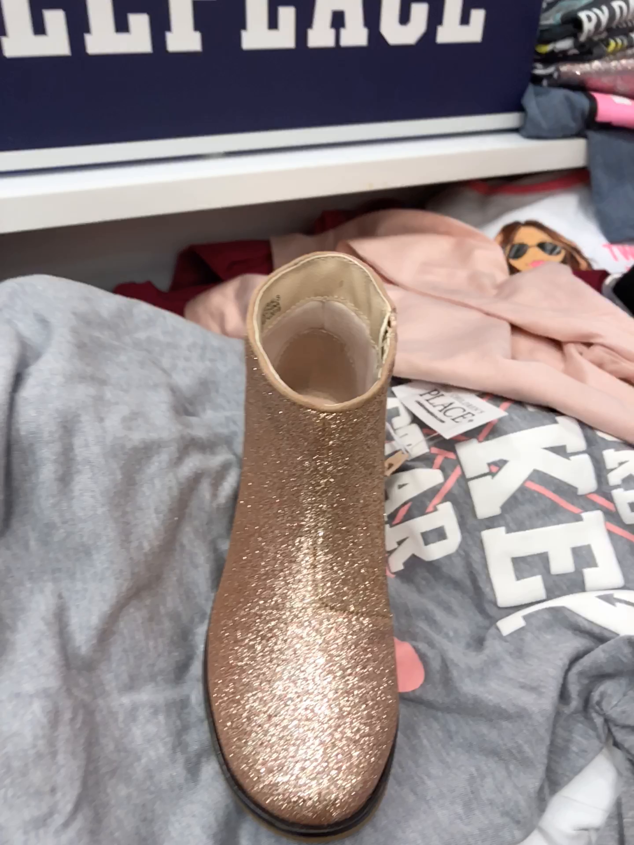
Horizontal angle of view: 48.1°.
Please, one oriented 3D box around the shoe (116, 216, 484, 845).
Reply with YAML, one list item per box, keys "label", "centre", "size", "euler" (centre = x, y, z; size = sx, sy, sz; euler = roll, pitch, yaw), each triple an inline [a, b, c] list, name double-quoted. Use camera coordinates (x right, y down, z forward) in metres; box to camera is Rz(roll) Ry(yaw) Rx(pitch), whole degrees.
- label: "shoe"
  centre: [-0.003, 0.019, 0.295]
  size: [0.083, 0.130, 0.238]
  euler: [2, 35, 0]
